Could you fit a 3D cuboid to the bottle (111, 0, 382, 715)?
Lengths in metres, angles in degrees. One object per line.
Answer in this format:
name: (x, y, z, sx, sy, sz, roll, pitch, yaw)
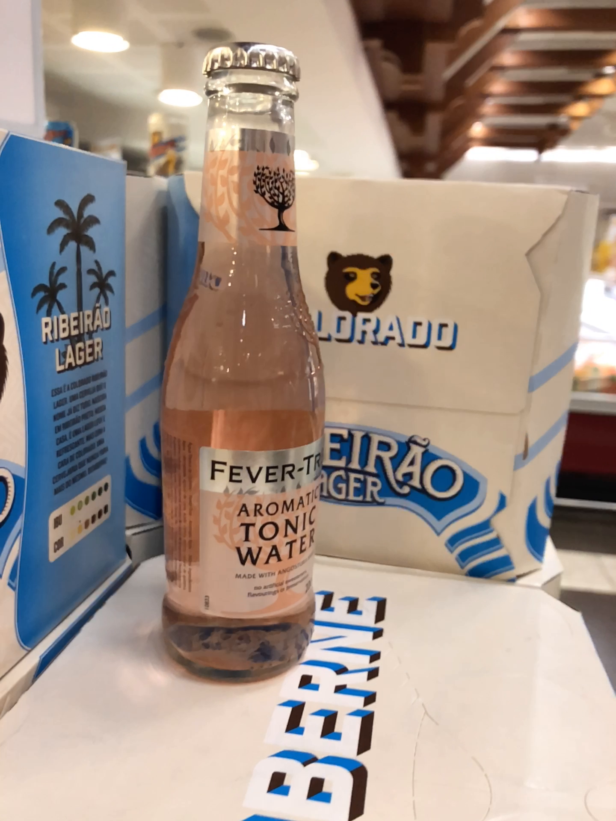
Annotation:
bottle: (-0.022, -0.013, 0.217, 0.060, 0.189, 0.050, -7, 15, -39)
